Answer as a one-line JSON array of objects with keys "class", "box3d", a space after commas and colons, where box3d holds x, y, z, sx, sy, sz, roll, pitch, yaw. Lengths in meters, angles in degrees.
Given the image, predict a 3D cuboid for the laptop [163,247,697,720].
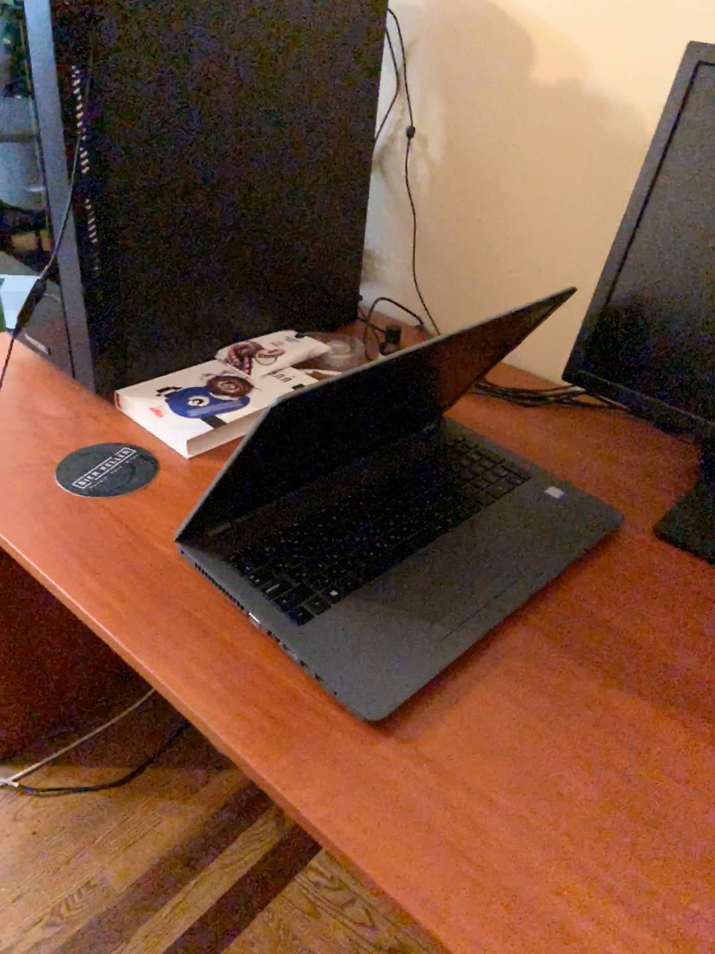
[{"class": "laptop", "box3d": [0.066, -0.035, 0.642, 0.376, 0.207, 0.249, -26, 46, -38]}]
